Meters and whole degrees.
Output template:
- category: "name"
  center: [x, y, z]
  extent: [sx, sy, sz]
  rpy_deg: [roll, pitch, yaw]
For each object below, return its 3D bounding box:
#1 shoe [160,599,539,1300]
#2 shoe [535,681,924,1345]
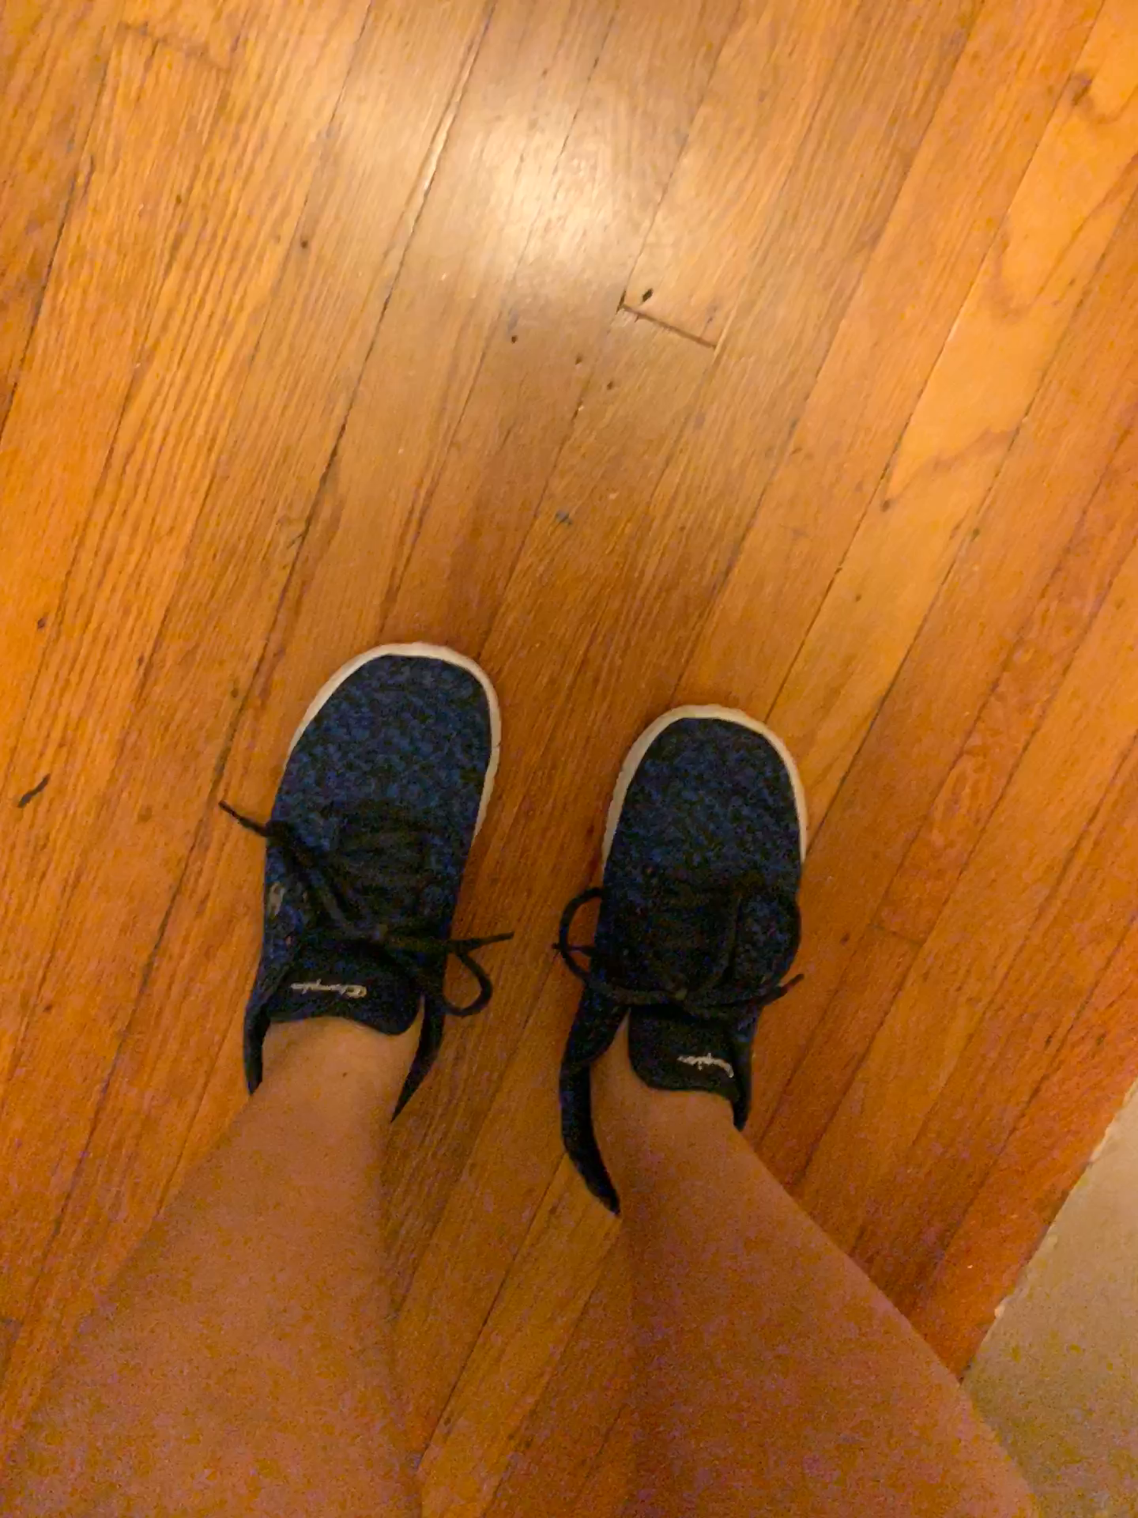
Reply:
- category: "shoe"
  center: [-0.101, 0.084, 0.575]
  extent: [0.115, 0.150, 0.291]
  rpy_deg: [12, 104, -4]
- category: "shoe"
  center: [0.064, 0.119, 0.578]
  extent: [0.117, 0.130, 0.280]
  rpy_deg: [9, 104, -4]
